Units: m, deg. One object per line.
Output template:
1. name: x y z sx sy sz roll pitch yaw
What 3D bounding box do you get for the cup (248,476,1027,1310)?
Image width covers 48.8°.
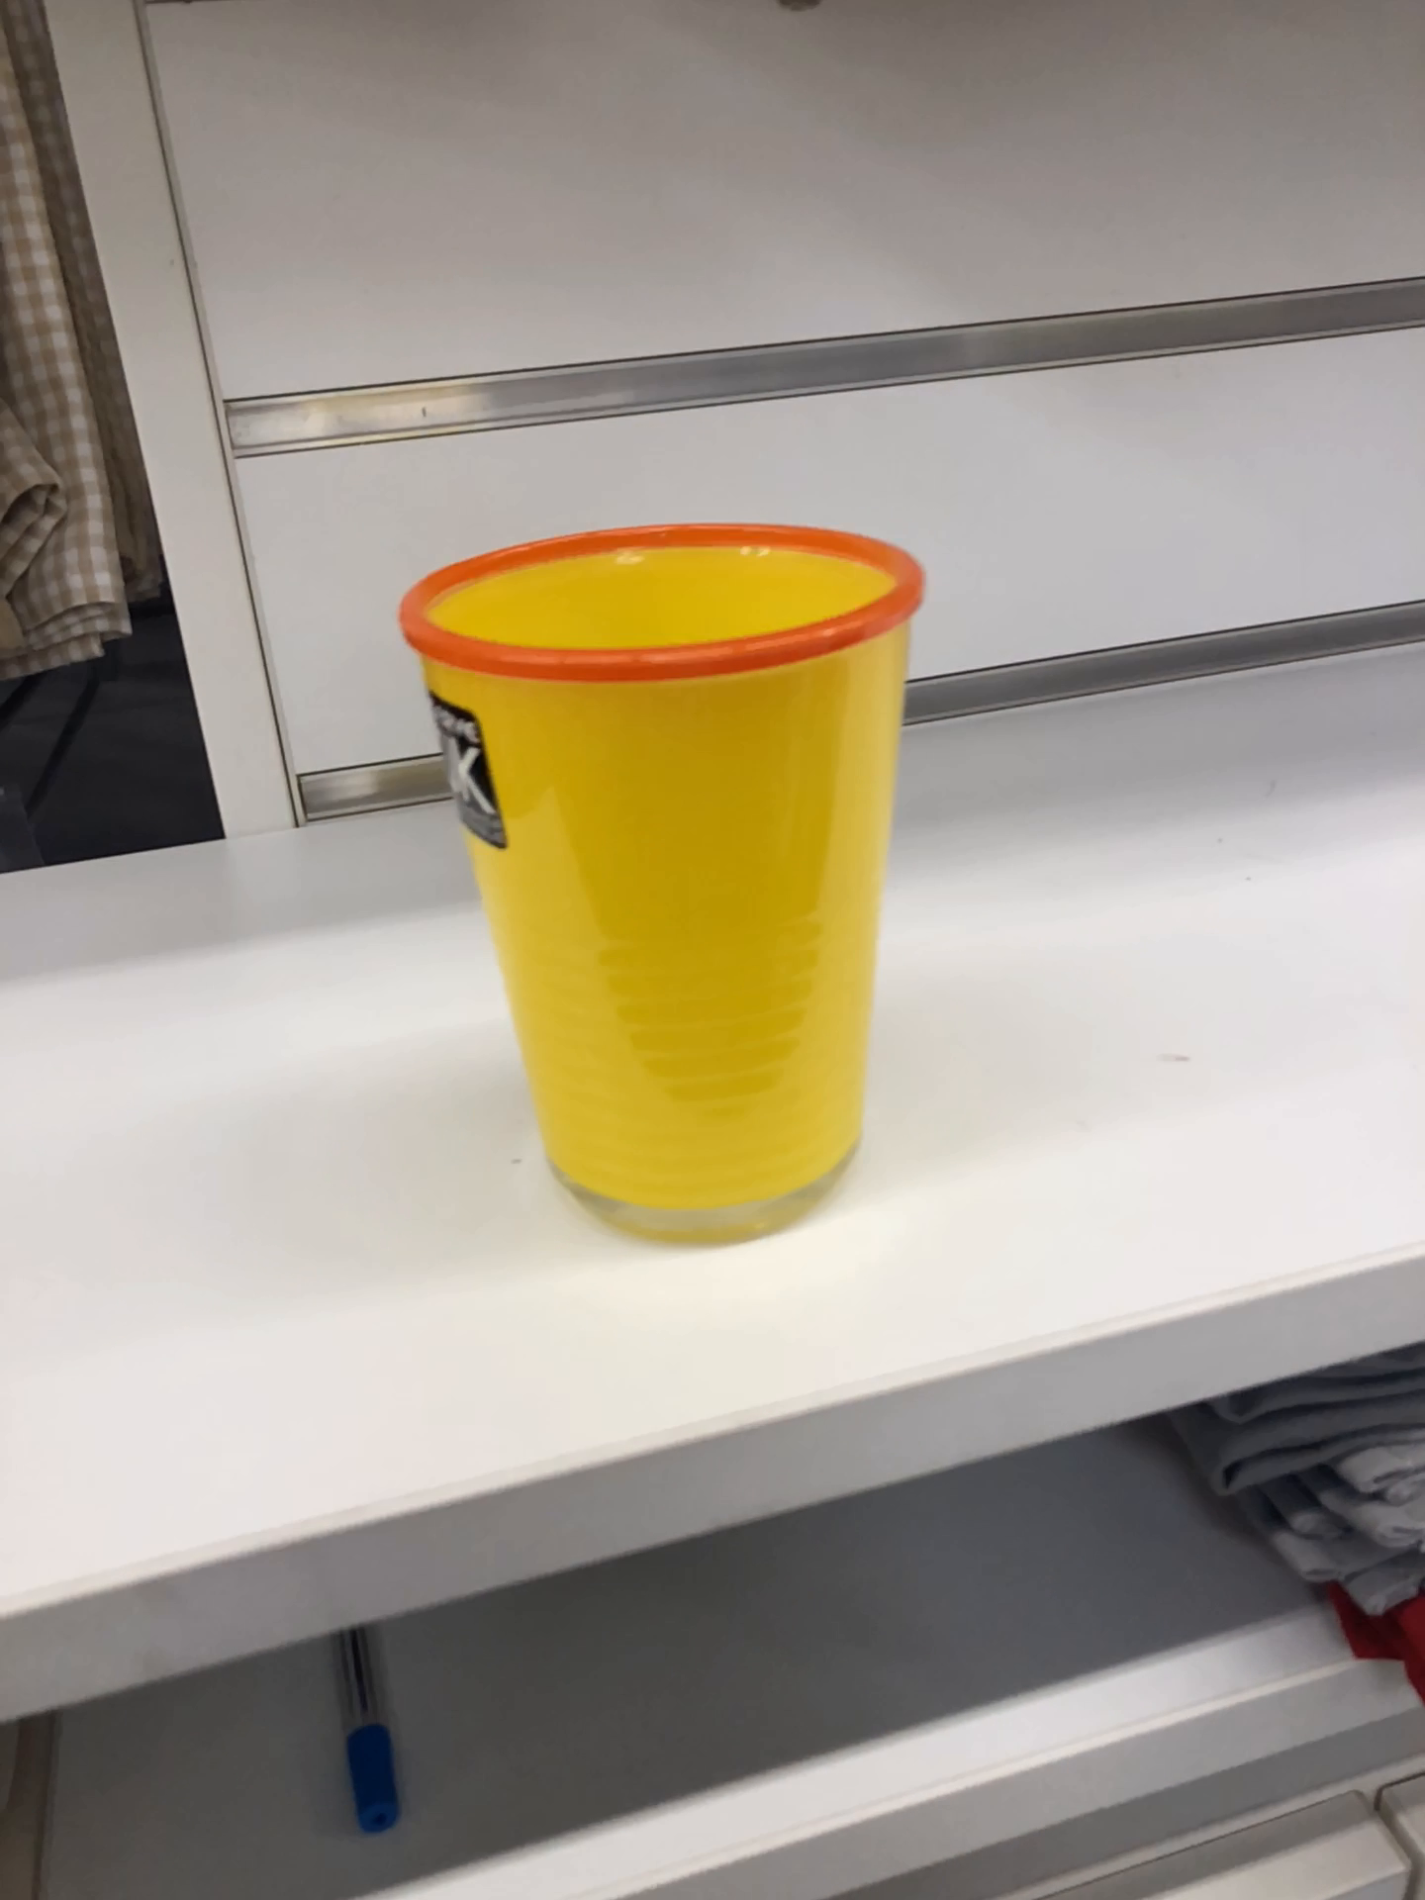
1. cup: -0.011 -0.018 0.257 0.084 0.094 0.088 -3 26 2
